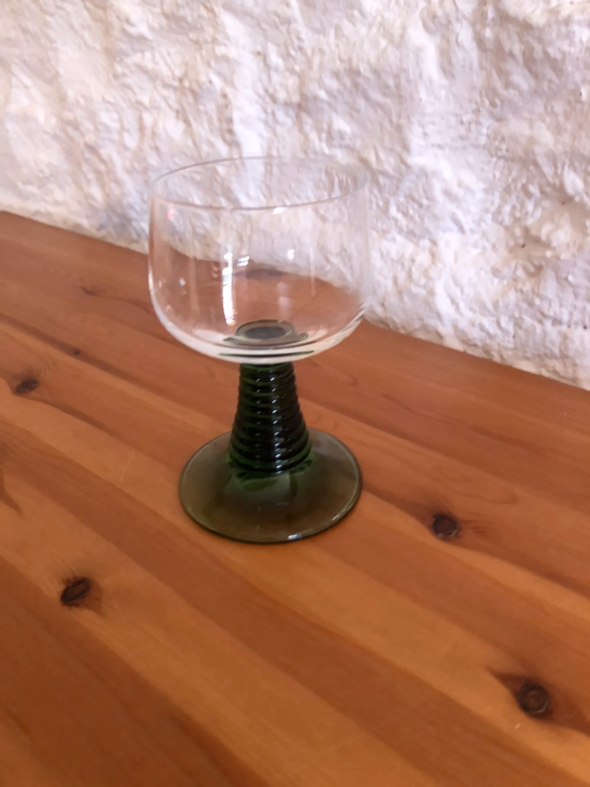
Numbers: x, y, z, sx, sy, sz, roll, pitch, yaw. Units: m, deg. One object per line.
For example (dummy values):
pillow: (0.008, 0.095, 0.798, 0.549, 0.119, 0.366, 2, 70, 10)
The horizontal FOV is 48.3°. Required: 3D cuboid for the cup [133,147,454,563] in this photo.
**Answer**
cup: (-0.003, -0.015, 0.209, 0.074, 0.106, 0.074, 0, 30, 0)
